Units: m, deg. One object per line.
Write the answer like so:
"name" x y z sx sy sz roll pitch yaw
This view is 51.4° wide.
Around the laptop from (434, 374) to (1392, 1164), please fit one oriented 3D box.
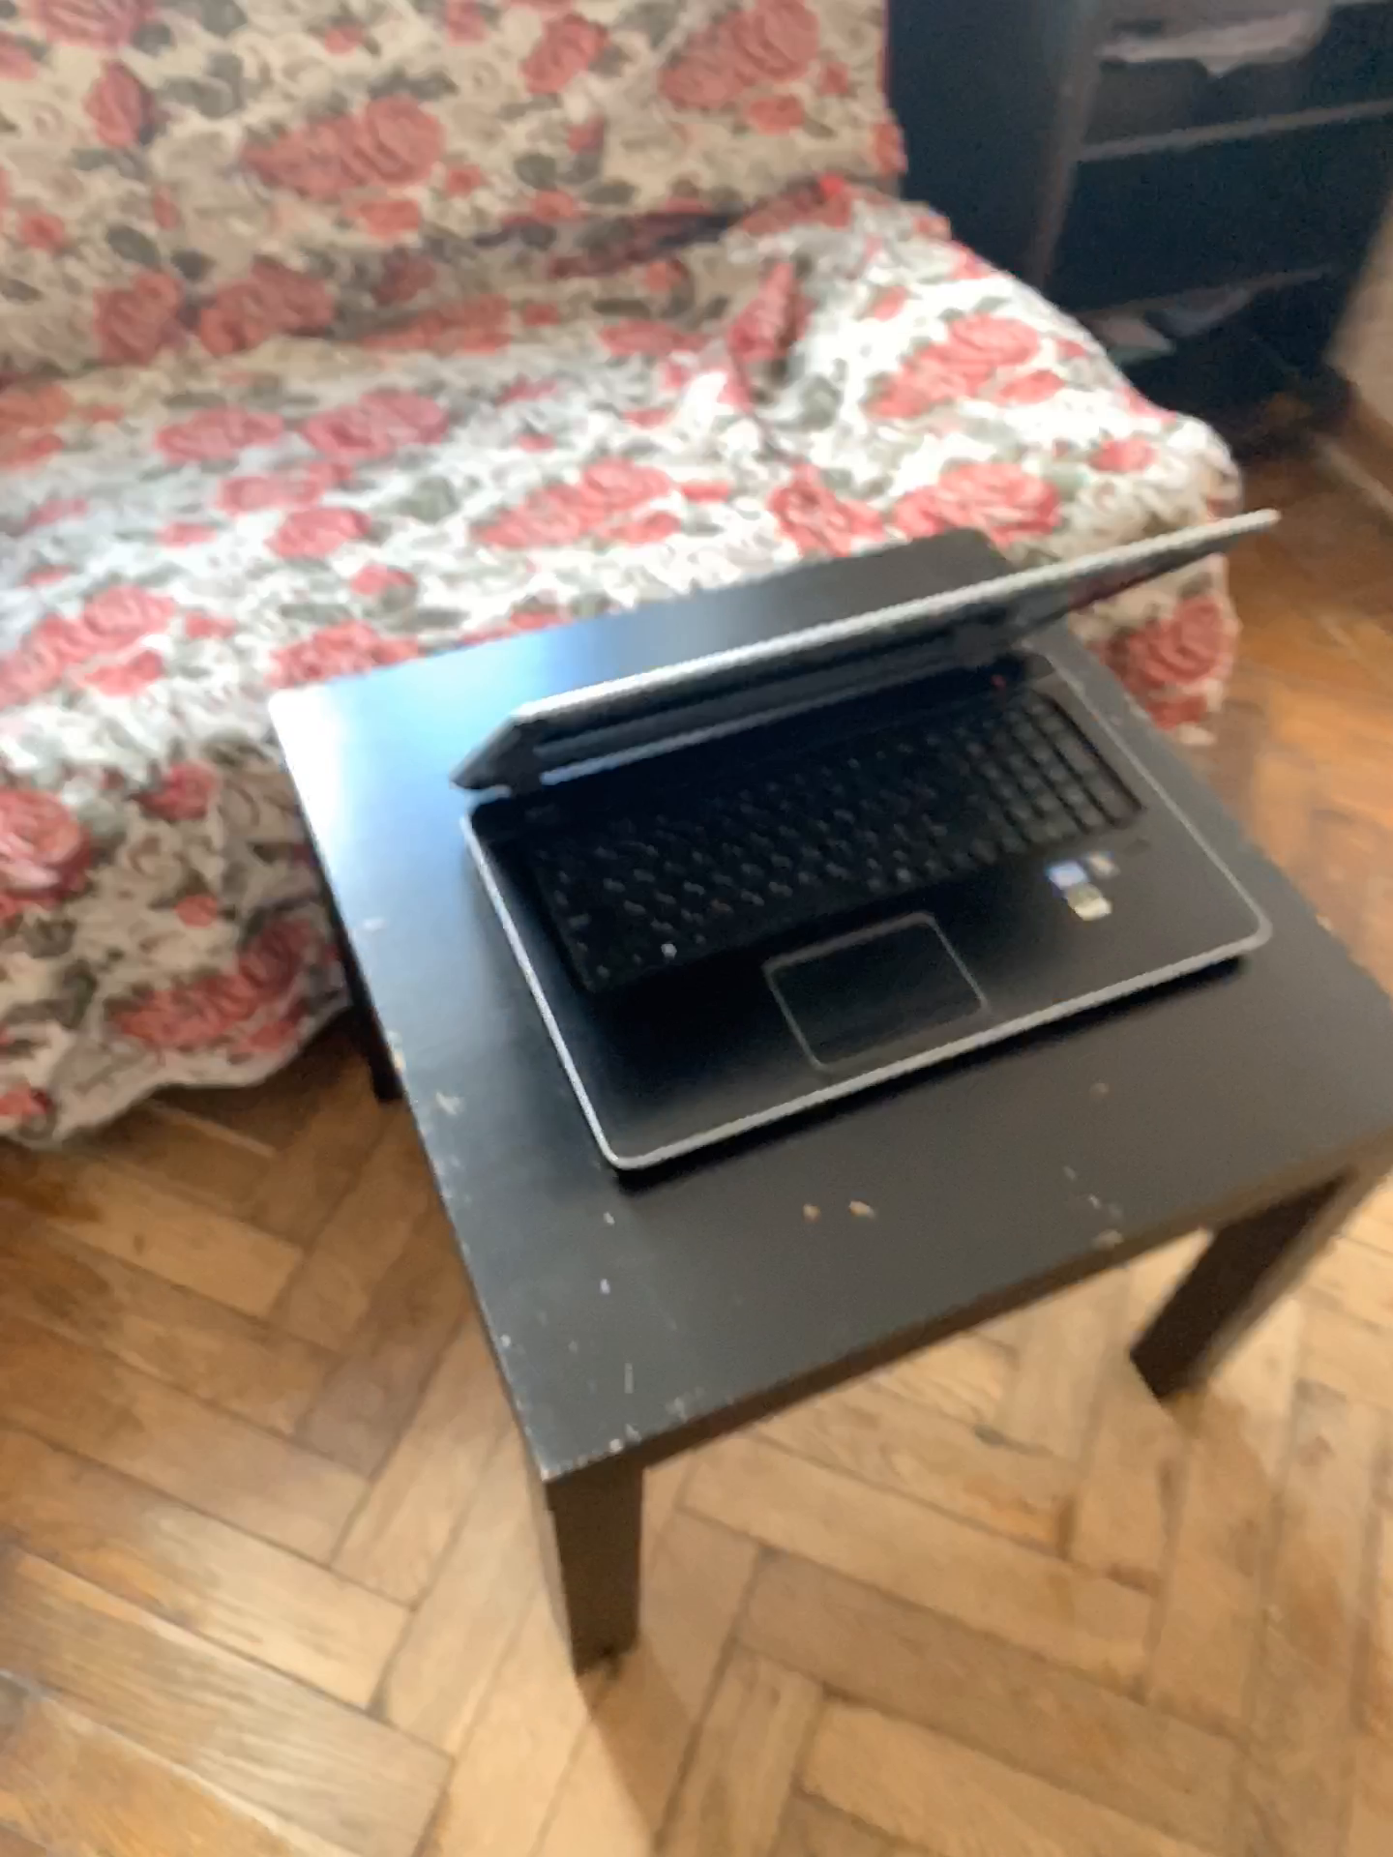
"laptop" 0.102 -0.099 0.776 0.404 0.201 0.258 -17 55 -17
